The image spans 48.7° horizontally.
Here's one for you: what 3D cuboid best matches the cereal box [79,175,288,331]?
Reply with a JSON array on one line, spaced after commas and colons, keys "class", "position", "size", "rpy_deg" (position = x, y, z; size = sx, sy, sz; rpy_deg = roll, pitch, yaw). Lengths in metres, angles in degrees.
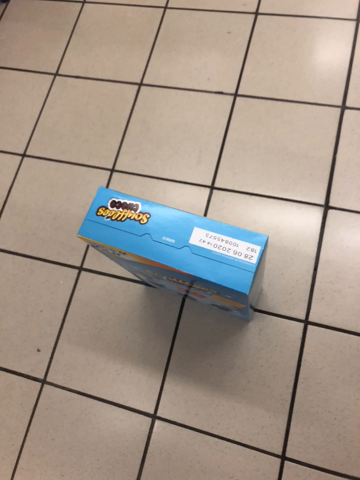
[{"class": "cereal box", "position": [0.023, 0.038, 0.541], "size": [0.200, 0.290, 0.080], "rpy_deg": [18, 76, 15]}]
